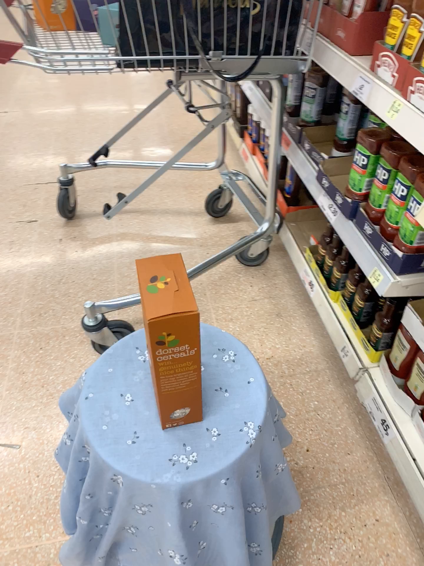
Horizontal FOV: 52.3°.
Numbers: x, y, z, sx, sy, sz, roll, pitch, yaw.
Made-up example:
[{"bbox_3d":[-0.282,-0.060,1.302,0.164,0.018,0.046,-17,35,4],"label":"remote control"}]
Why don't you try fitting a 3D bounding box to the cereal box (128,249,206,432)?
[{"bbox_3d":[-0.059,0.085,0.597,0.070,0.228,0.121,-10,43,-11],"label":"cereal box"}]
